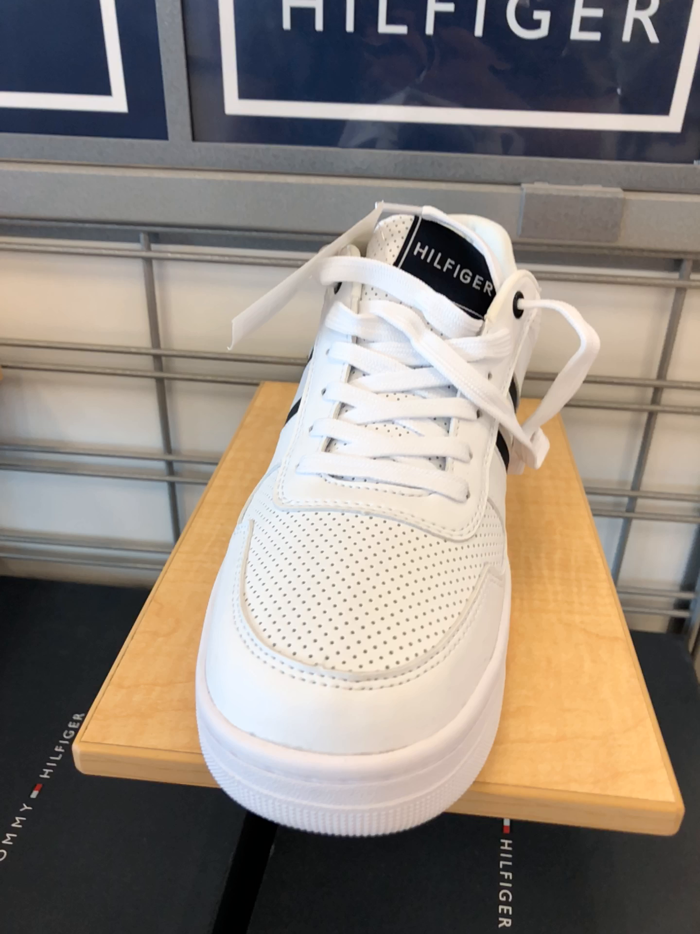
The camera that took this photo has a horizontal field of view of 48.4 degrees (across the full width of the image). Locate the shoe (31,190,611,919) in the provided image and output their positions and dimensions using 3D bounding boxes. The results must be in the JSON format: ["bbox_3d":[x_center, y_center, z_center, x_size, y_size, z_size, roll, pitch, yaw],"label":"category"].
[{"bbox_3d":[0.019,-0.016,0.288,0.107,0.113,0.282,7,30,10],"label":"shoe"}]
